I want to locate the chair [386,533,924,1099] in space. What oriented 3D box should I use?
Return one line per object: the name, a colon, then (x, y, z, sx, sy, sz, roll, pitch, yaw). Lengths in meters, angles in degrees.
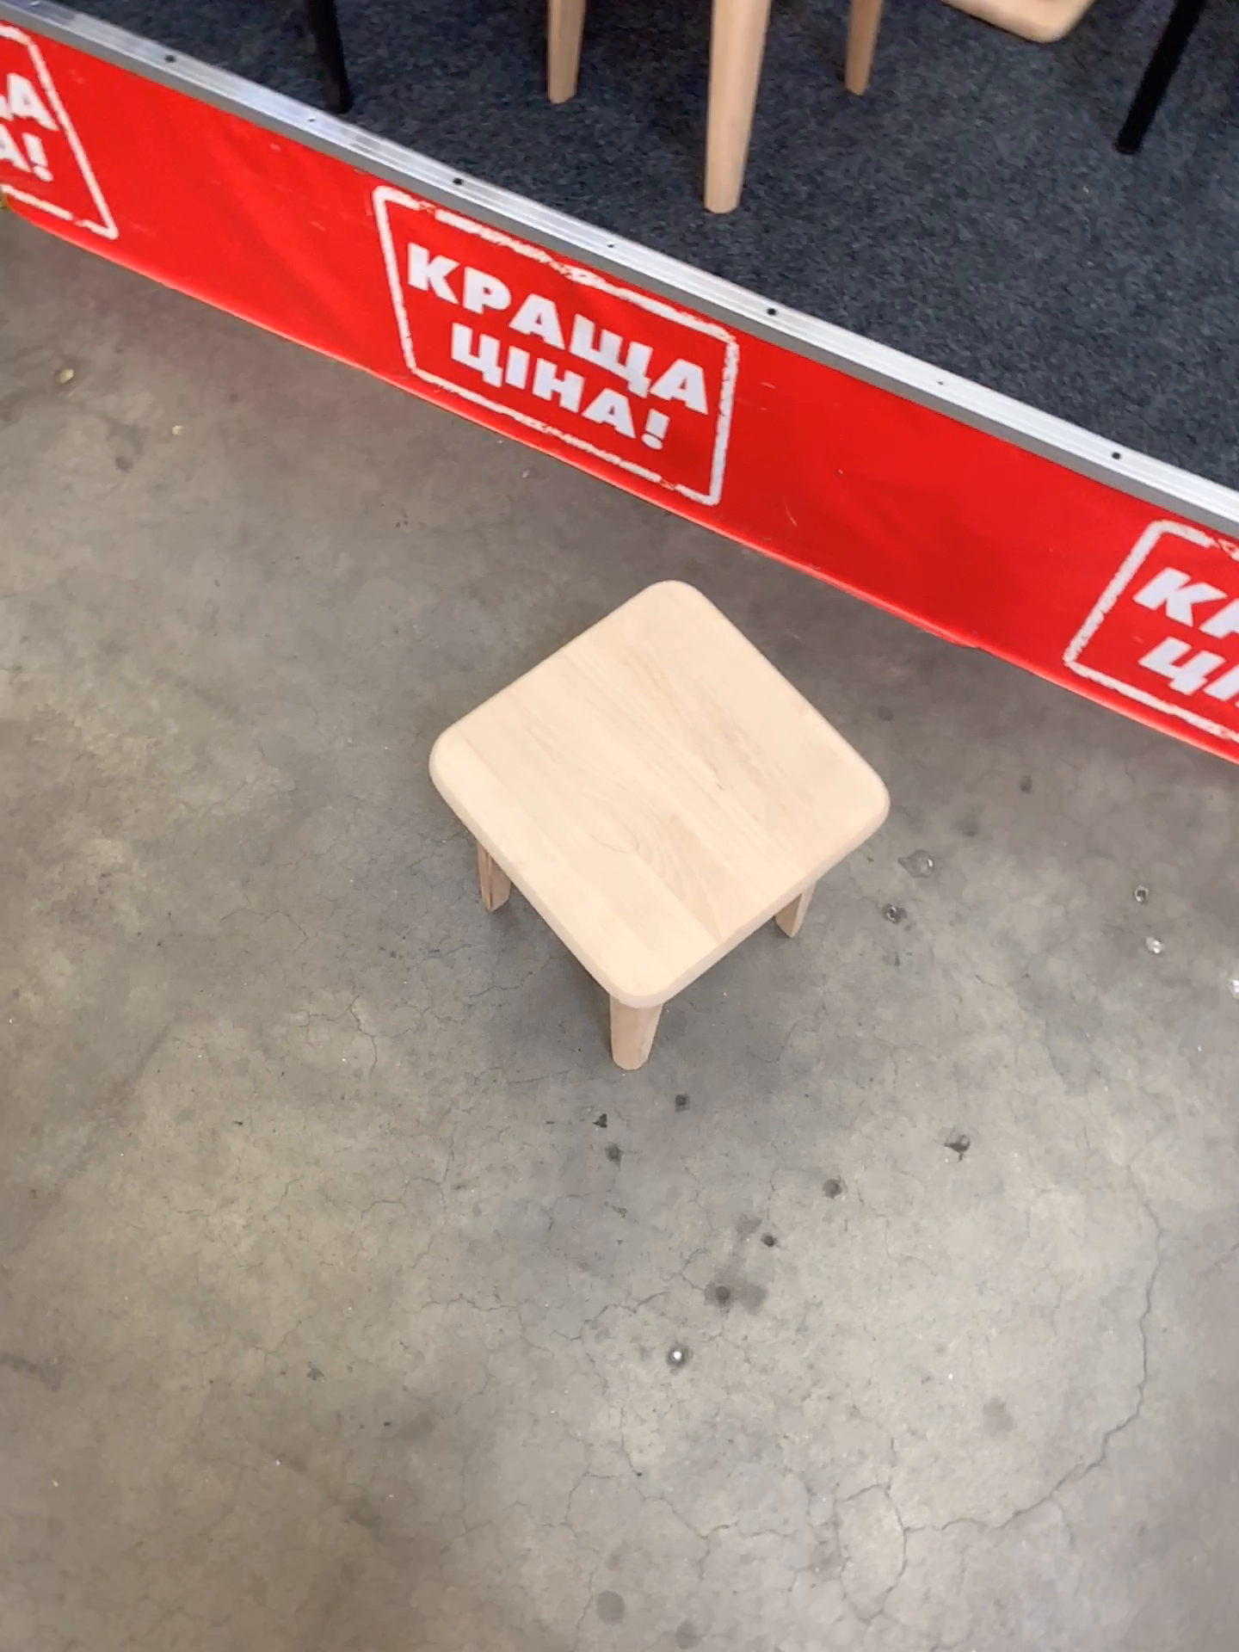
chair: (0.020, 0.004, 0.956, 0.250, 0.260, 0.260, -37, 73, -14)
